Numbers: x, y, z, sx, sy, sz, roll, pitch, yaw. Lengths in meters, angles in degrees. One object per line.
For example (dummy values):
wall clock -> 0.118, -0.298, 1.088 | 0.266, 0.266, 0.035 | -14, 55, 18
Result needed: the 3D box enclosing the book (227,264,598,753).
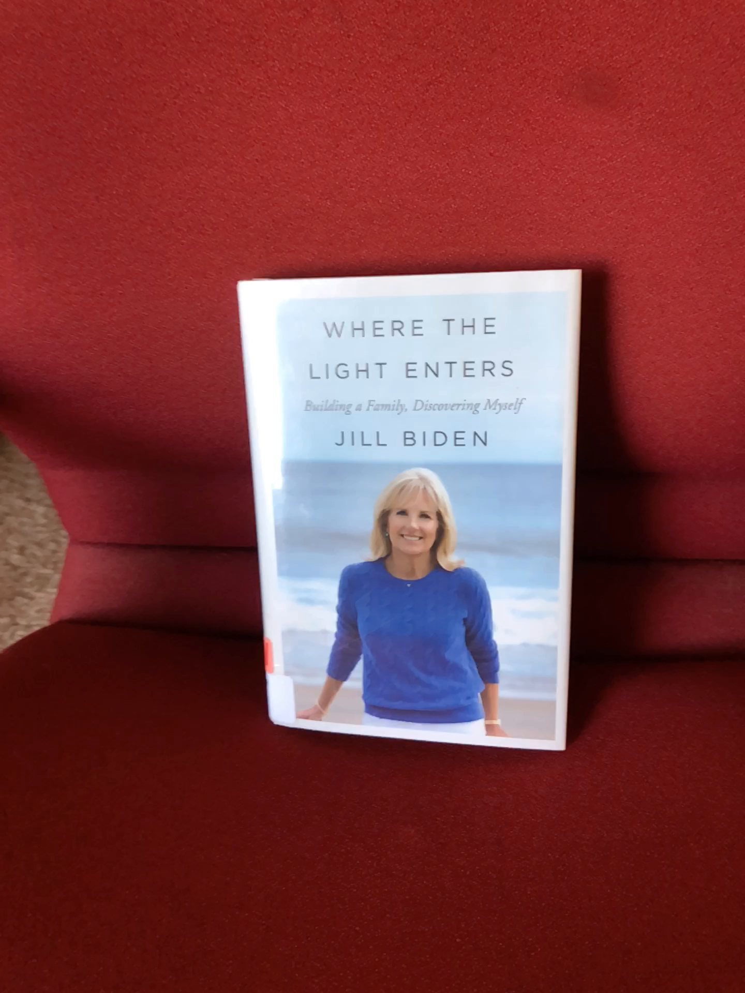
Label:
book -> 0.018, 0.006, 0.370 | 0.150, 0.210, 0.030 | 2, 15, 12
